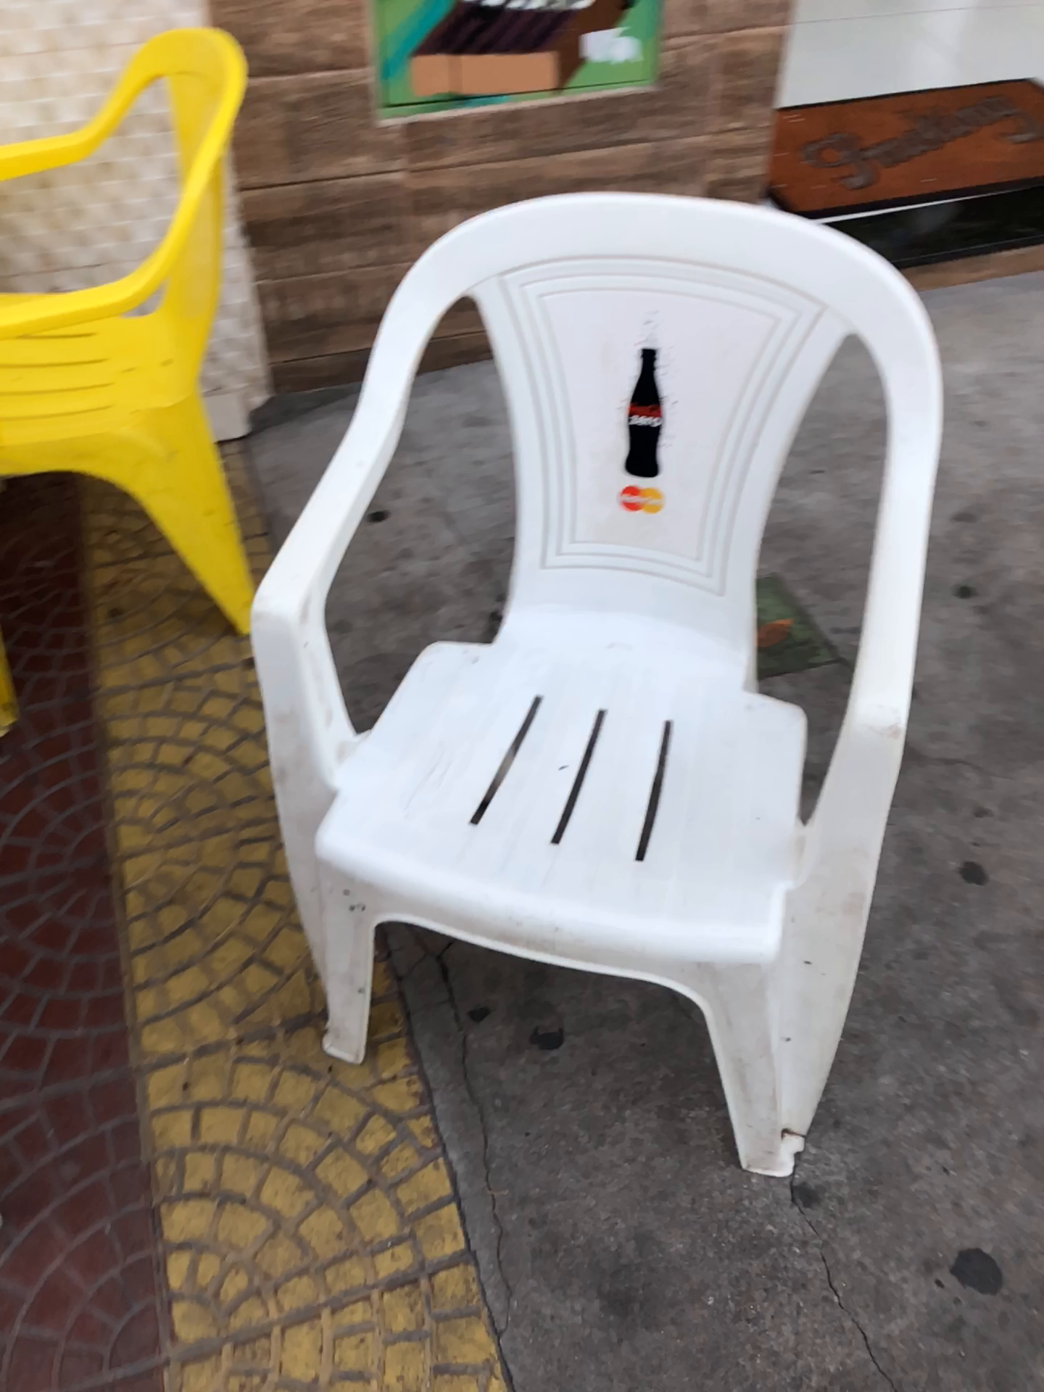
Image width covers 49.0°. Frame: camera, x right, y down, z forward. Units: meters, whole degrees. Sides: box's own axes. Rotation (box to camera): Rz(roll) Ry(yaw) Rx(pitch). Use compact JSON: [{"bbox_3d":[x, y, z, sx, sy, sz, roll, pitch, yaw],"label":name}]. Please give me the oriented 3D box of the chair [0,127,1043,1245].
[{"bbox_3d":[0.077,0.000,1.057,0.640,0.745,0.554,12,47,11],"label":"chair"}]
